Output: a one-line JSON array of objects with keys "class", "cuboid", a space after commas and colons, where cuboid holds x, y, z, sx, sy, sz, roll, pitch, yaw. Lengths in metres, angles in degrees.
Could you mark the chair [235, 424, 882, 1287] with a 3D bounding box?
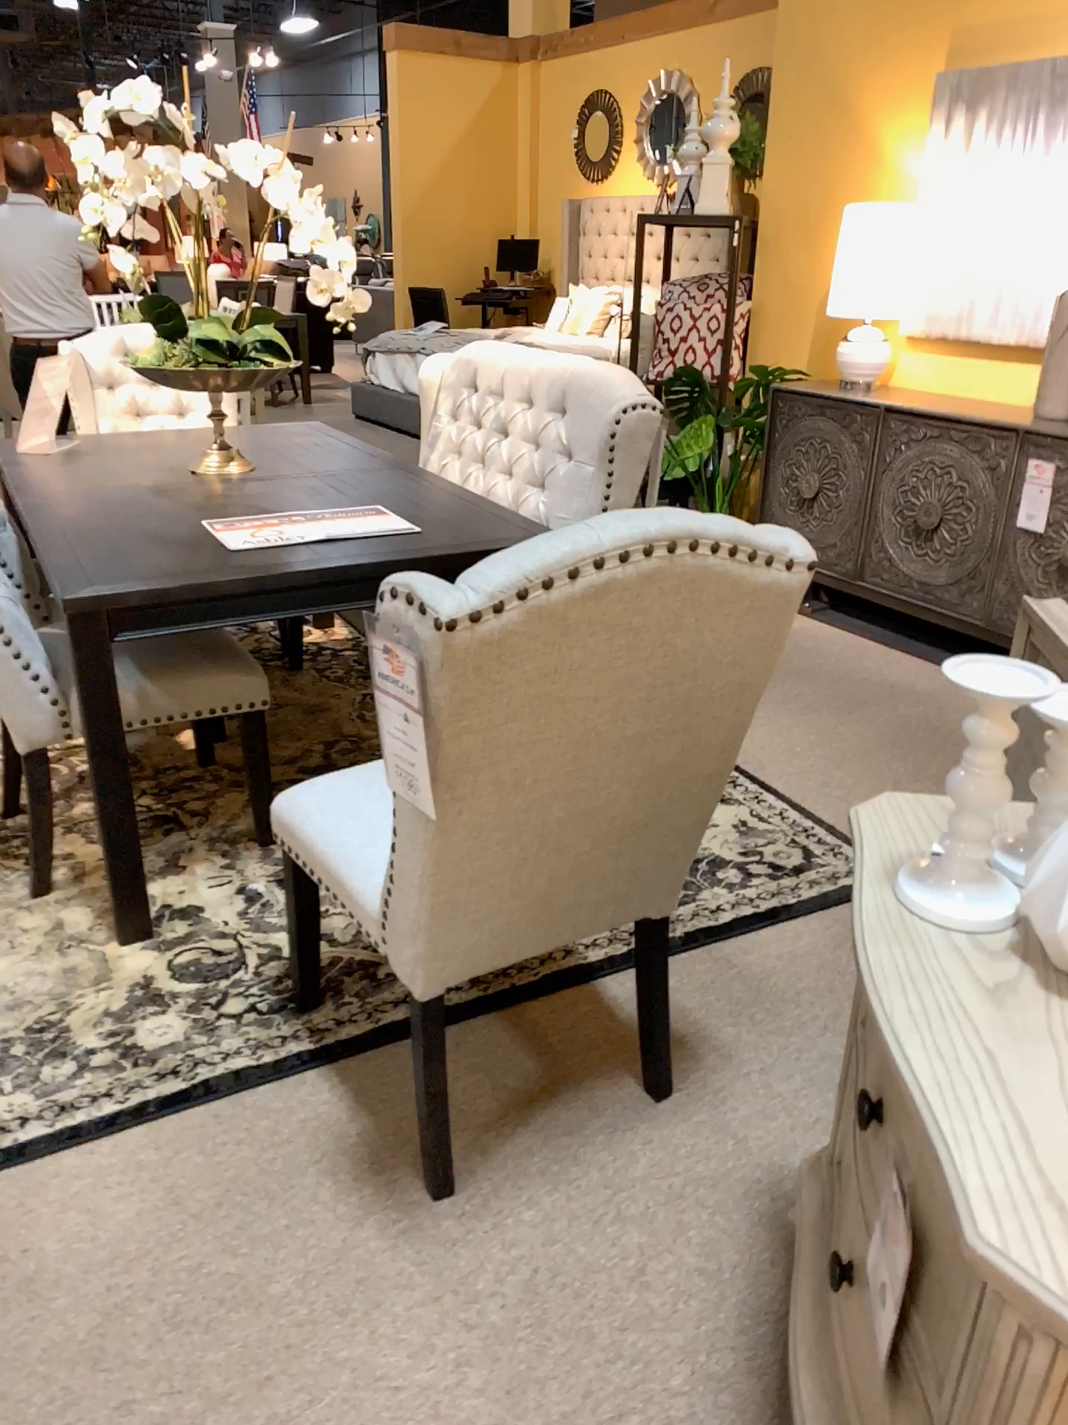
[{"class": "chair", "cuboid": [-0.023, 0.123, 1.663, 0.587, 0.974, 0.744, -12, 26, -28]}]
